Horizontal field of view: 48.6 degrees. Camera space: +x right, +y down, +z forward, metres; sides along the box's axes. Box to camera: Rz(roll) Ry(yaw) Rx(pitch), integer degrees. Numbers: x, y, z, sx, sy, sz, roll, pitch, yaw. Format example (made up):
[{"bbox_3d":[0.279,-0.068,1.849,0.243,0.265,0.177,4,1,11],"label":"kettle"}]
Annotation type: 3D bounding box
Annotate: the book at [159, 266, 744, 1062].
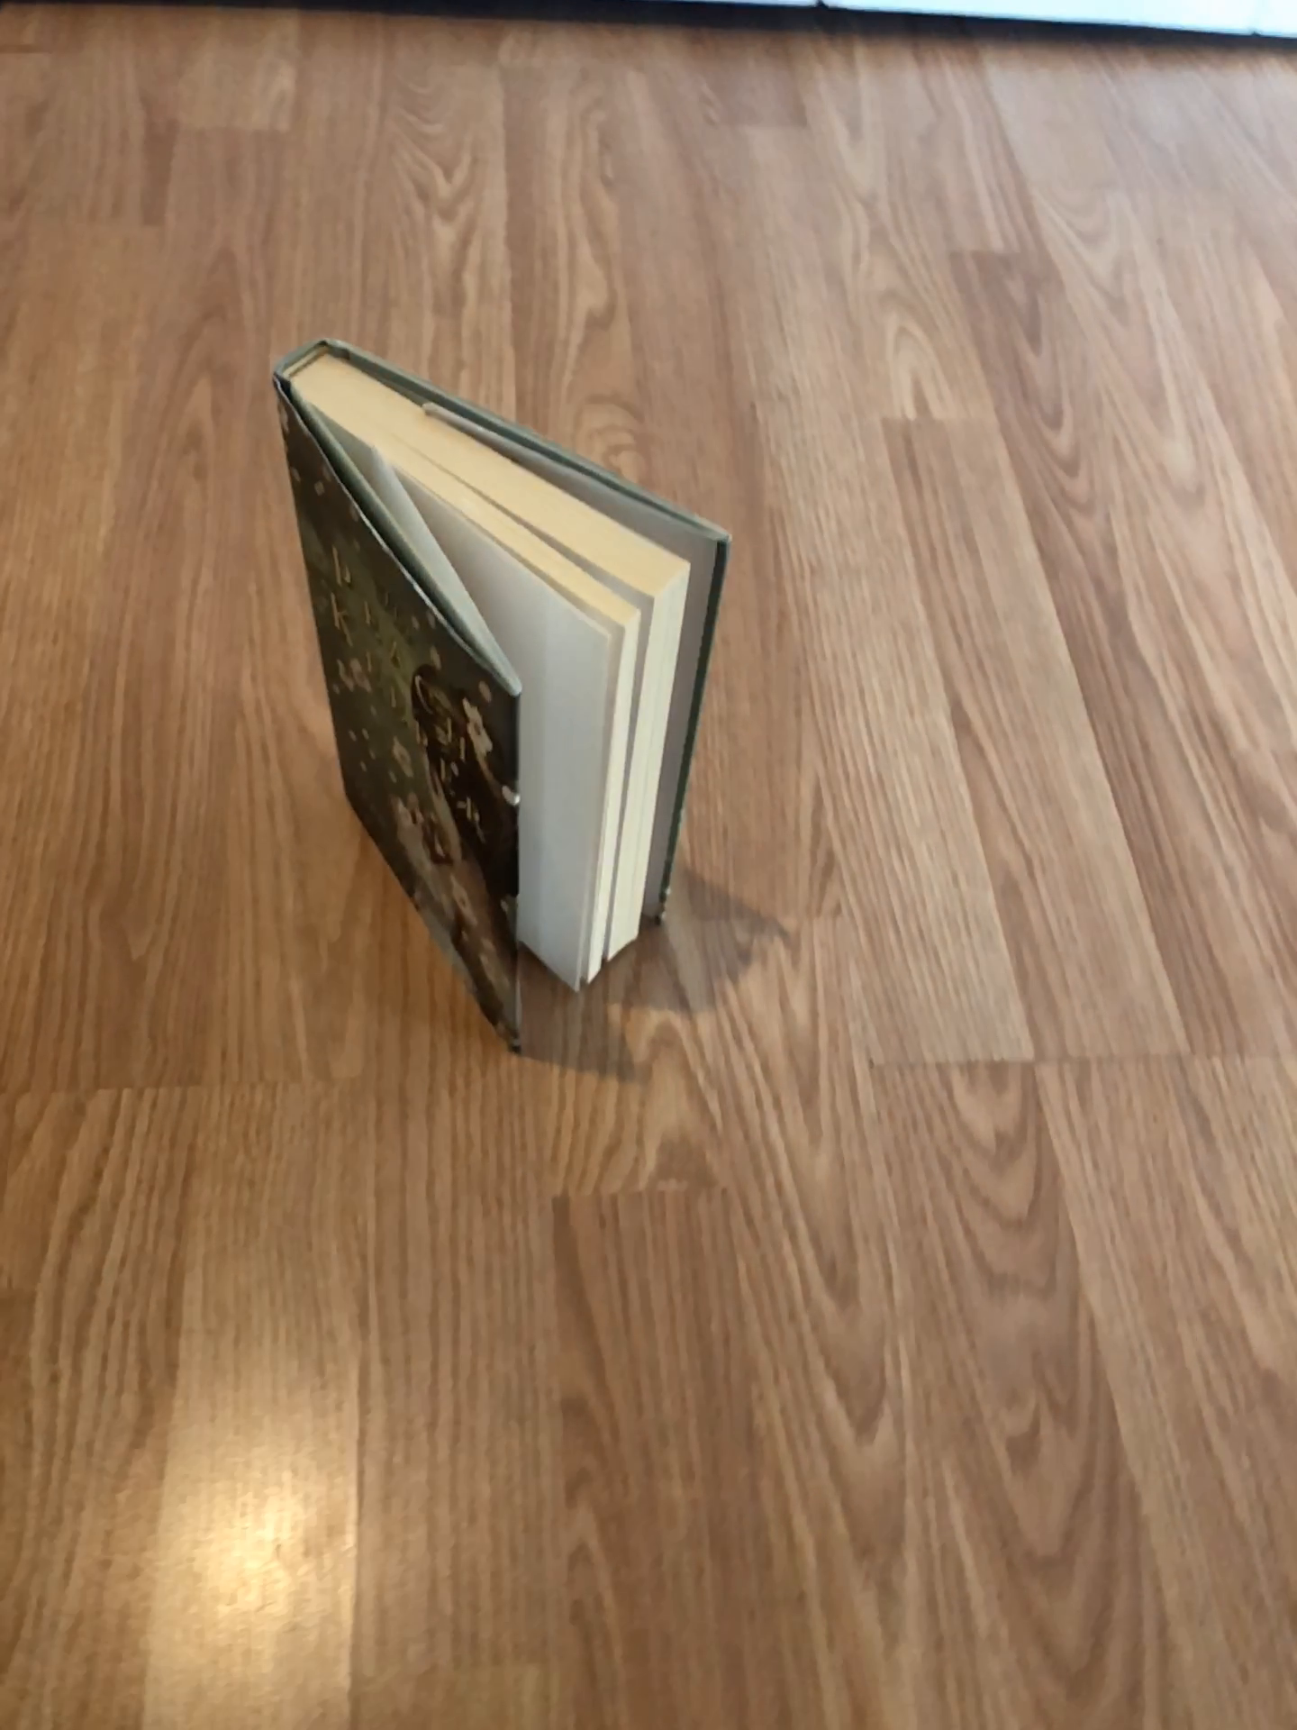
[{"bbox_3d":[-0.064,-0.054,0.487,0.150,0.220,0.080,41,64,19],"label":"book"}]
